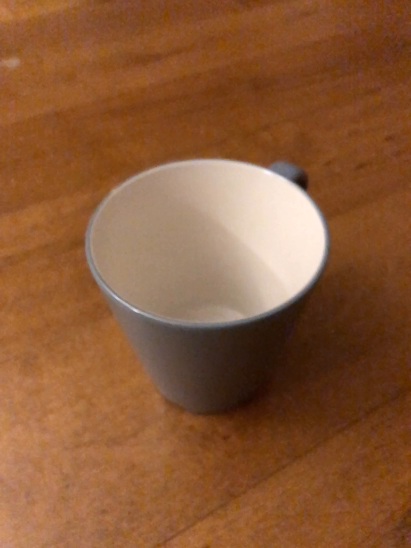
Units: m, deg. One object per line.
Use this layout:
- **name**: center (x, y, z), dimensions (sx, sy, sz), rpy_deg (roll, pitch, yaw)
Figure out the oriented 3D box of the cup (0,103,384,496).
- **cup**: center (0.003, 0.004, 0.234), dimensions (0.100, 0.099, 0.140), rpy_deg (27, 54, 23)
